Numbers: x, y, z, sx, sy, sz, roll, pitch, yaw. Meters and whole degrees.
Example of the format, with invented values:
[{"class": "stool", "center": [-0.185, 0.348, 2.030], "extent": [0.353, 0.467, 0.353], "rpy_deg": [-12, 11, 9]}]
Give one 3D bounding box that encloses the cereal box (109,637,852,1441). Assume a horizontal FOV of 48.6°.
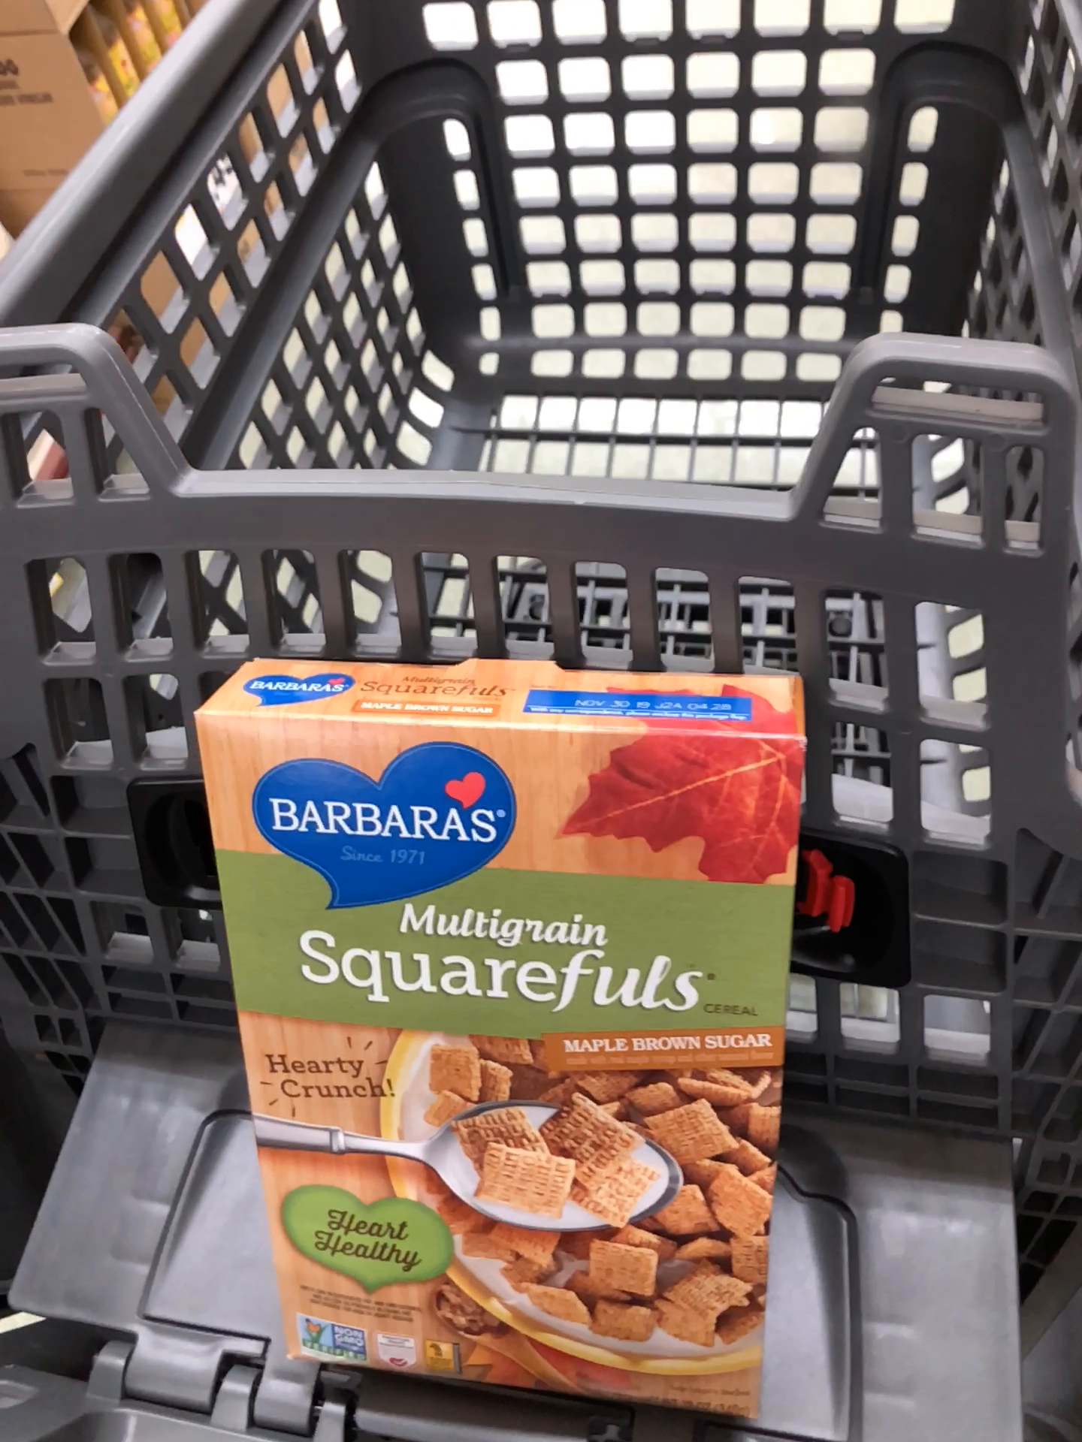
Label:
[{"class": "cereal box", "center": [-0.012, 0.110, 0.376], "extent": [0.190, 0.260, 0.060], "rpy_deg": [3, 23, 10]}]
